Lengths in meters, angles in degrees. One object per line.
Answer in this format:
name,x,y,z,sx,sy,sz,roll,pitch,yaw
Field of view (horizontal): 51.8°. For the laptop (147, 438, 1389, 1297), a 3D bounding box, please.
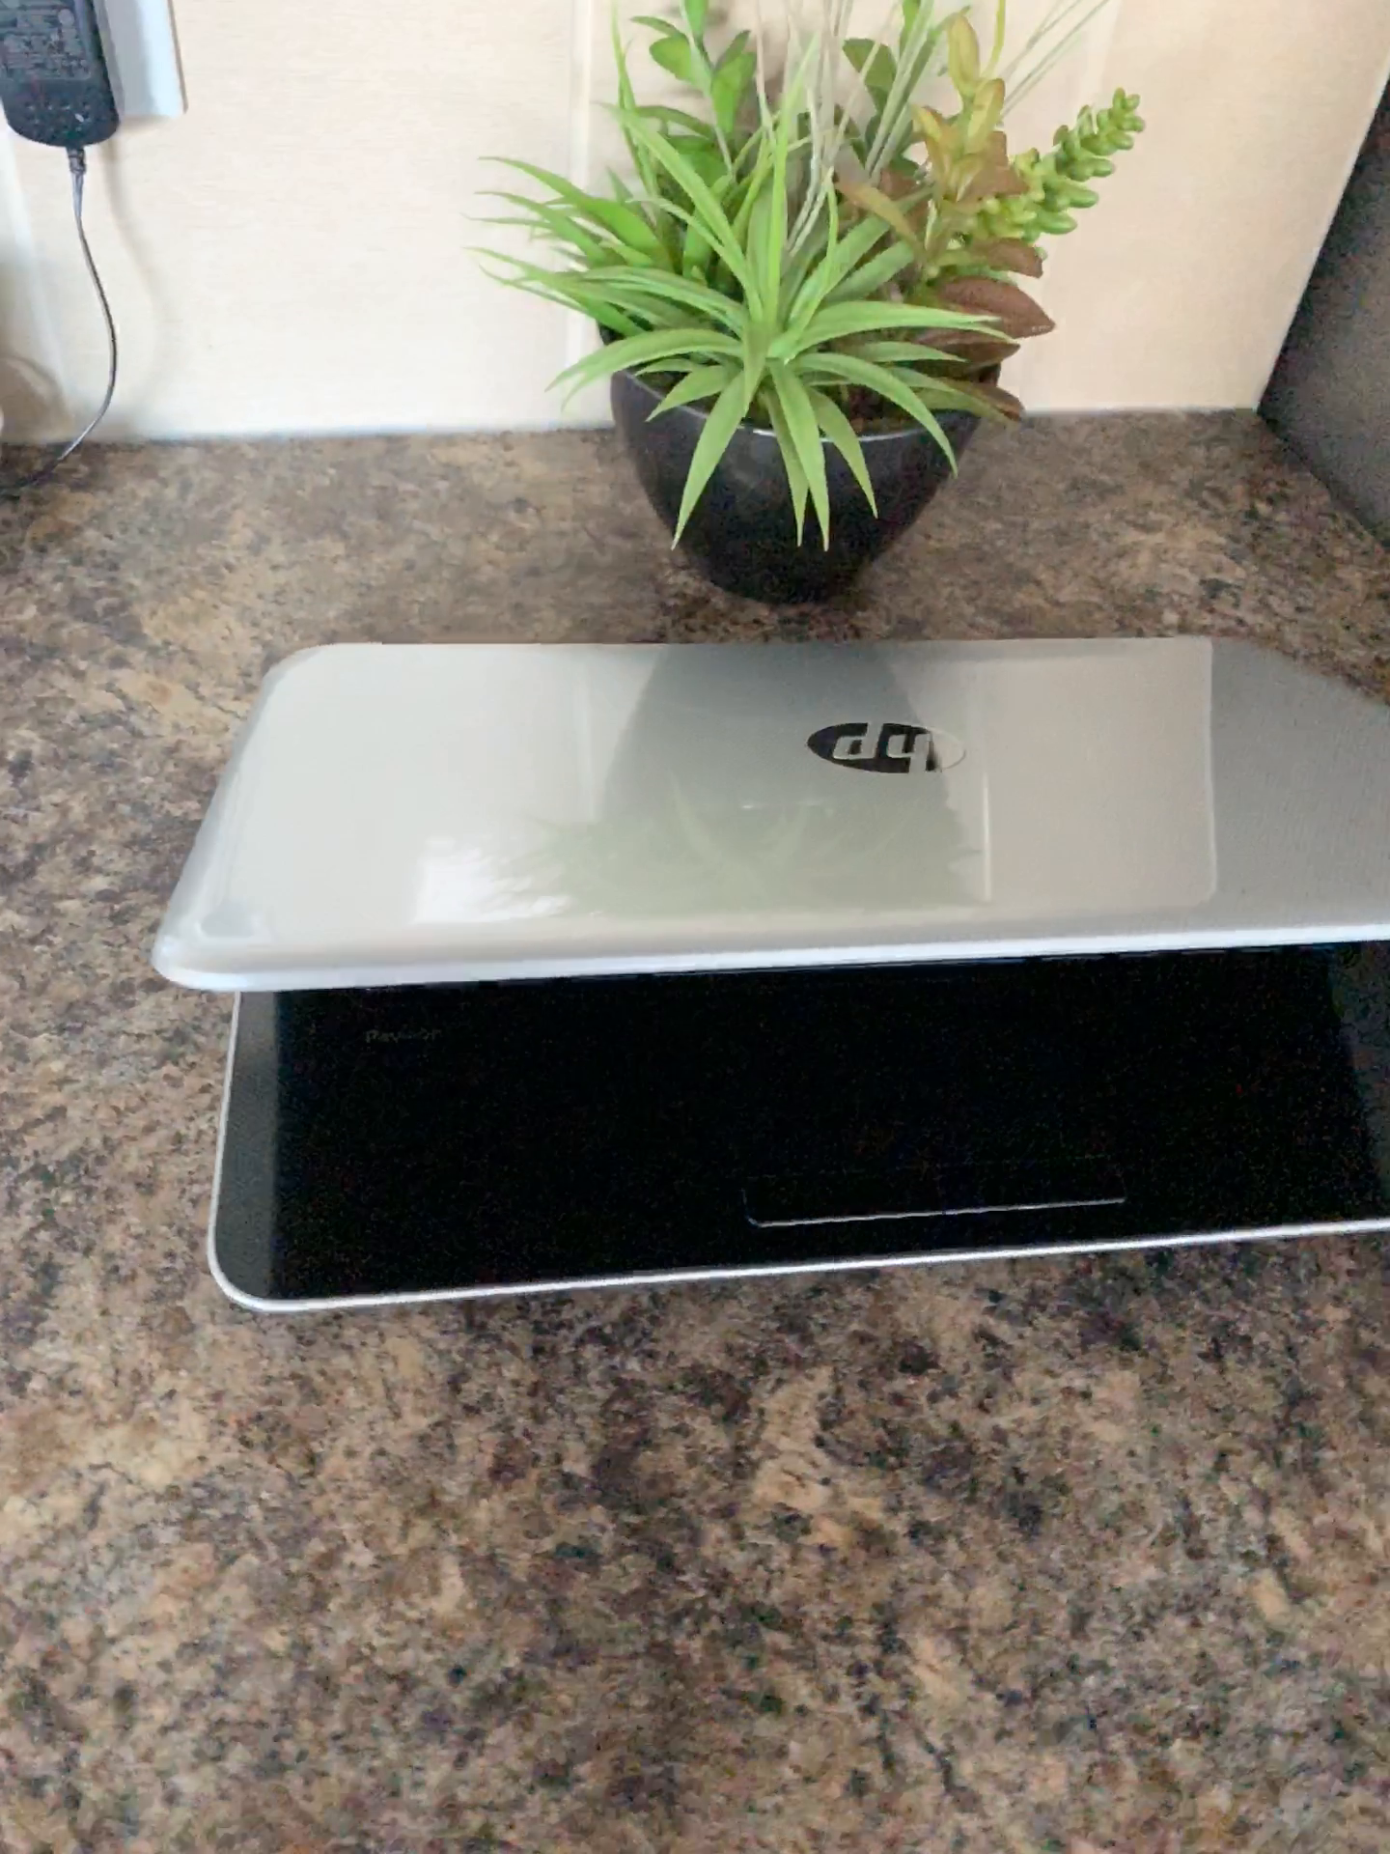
laptop,0.049,-0.034,0.374,0.328,0.081,0.208,-3,49,-9
